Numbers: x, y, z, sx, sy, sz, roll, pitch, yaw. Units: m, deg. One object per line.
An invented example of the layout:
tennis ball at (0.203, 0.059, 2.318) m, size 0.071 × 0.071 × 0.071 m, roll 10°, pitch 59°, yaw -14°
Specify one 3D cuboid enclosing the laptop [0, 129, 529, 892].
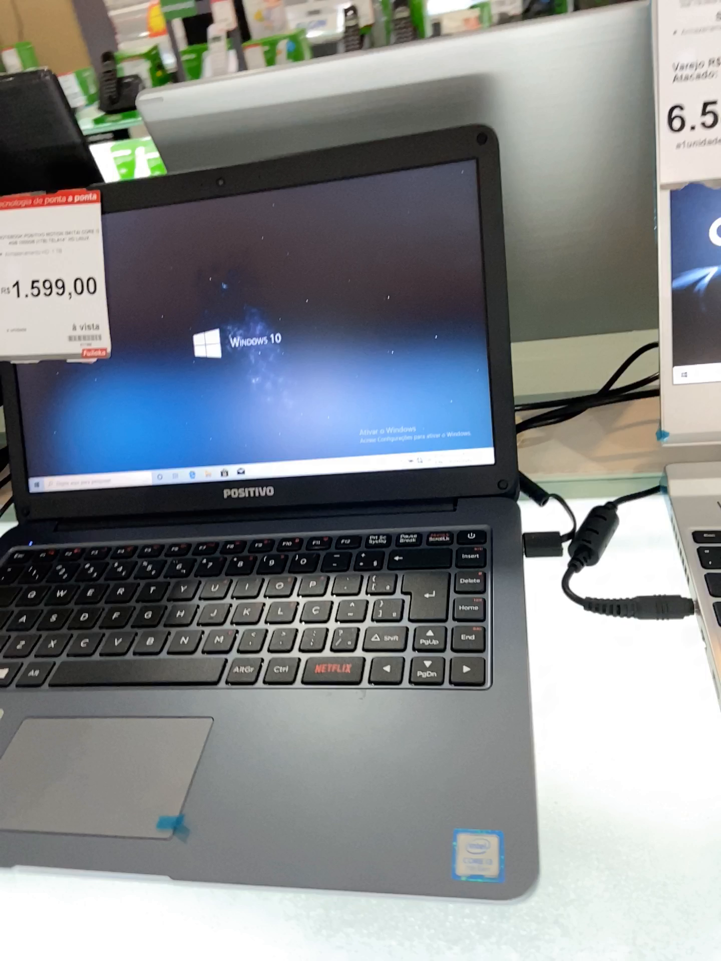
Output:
laptop at (-0.091, -0.019, 0.360) m, size 0.318 × 0.171 × 0.325 m, roll -4°, pitch 35°, yaw 13°
